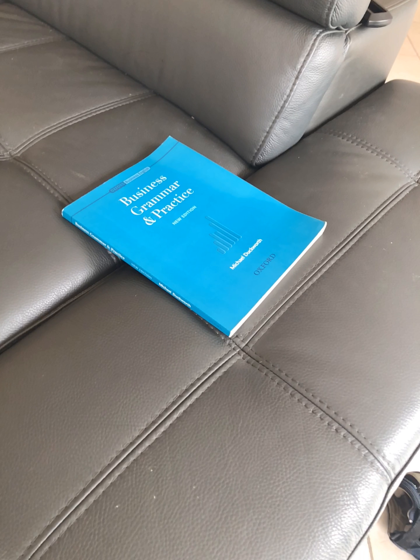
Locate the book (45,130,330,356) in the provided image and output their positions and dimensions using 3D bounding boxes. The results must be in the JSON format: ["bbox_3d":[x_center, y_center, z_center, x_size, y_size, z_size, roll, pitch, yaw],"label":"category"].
[{"bbox_3d":[-0.024,-0.070,0.595,0.280,0.020,0.231,34,59,17],"label":"book"}]
